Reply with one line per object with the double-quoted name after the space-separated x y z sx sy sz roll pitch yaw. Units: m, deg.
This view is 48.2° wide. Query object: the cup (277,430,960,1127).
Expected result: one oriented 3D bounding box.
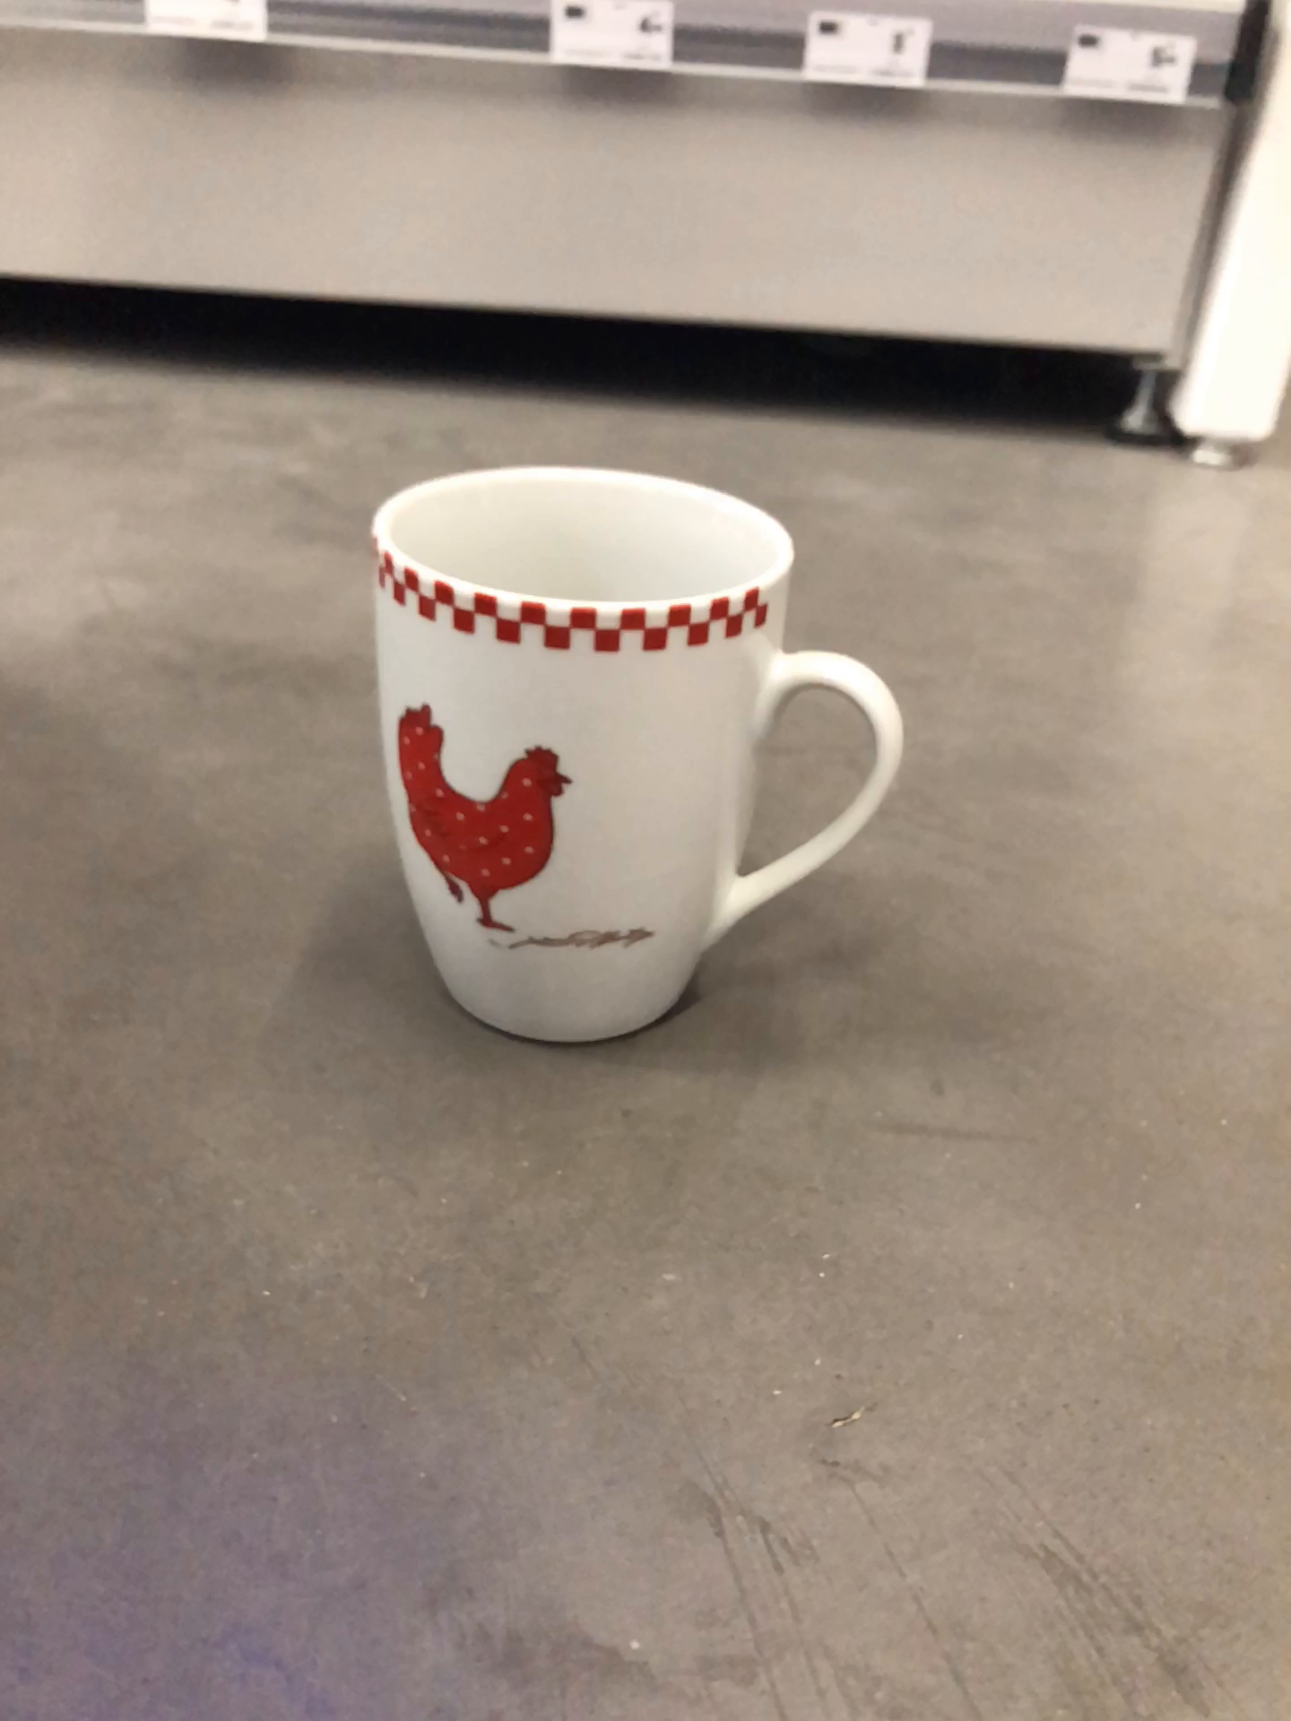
-0.002 -0.022 0.286 0.102 0.092 0.088 12 31 13 "cup"
